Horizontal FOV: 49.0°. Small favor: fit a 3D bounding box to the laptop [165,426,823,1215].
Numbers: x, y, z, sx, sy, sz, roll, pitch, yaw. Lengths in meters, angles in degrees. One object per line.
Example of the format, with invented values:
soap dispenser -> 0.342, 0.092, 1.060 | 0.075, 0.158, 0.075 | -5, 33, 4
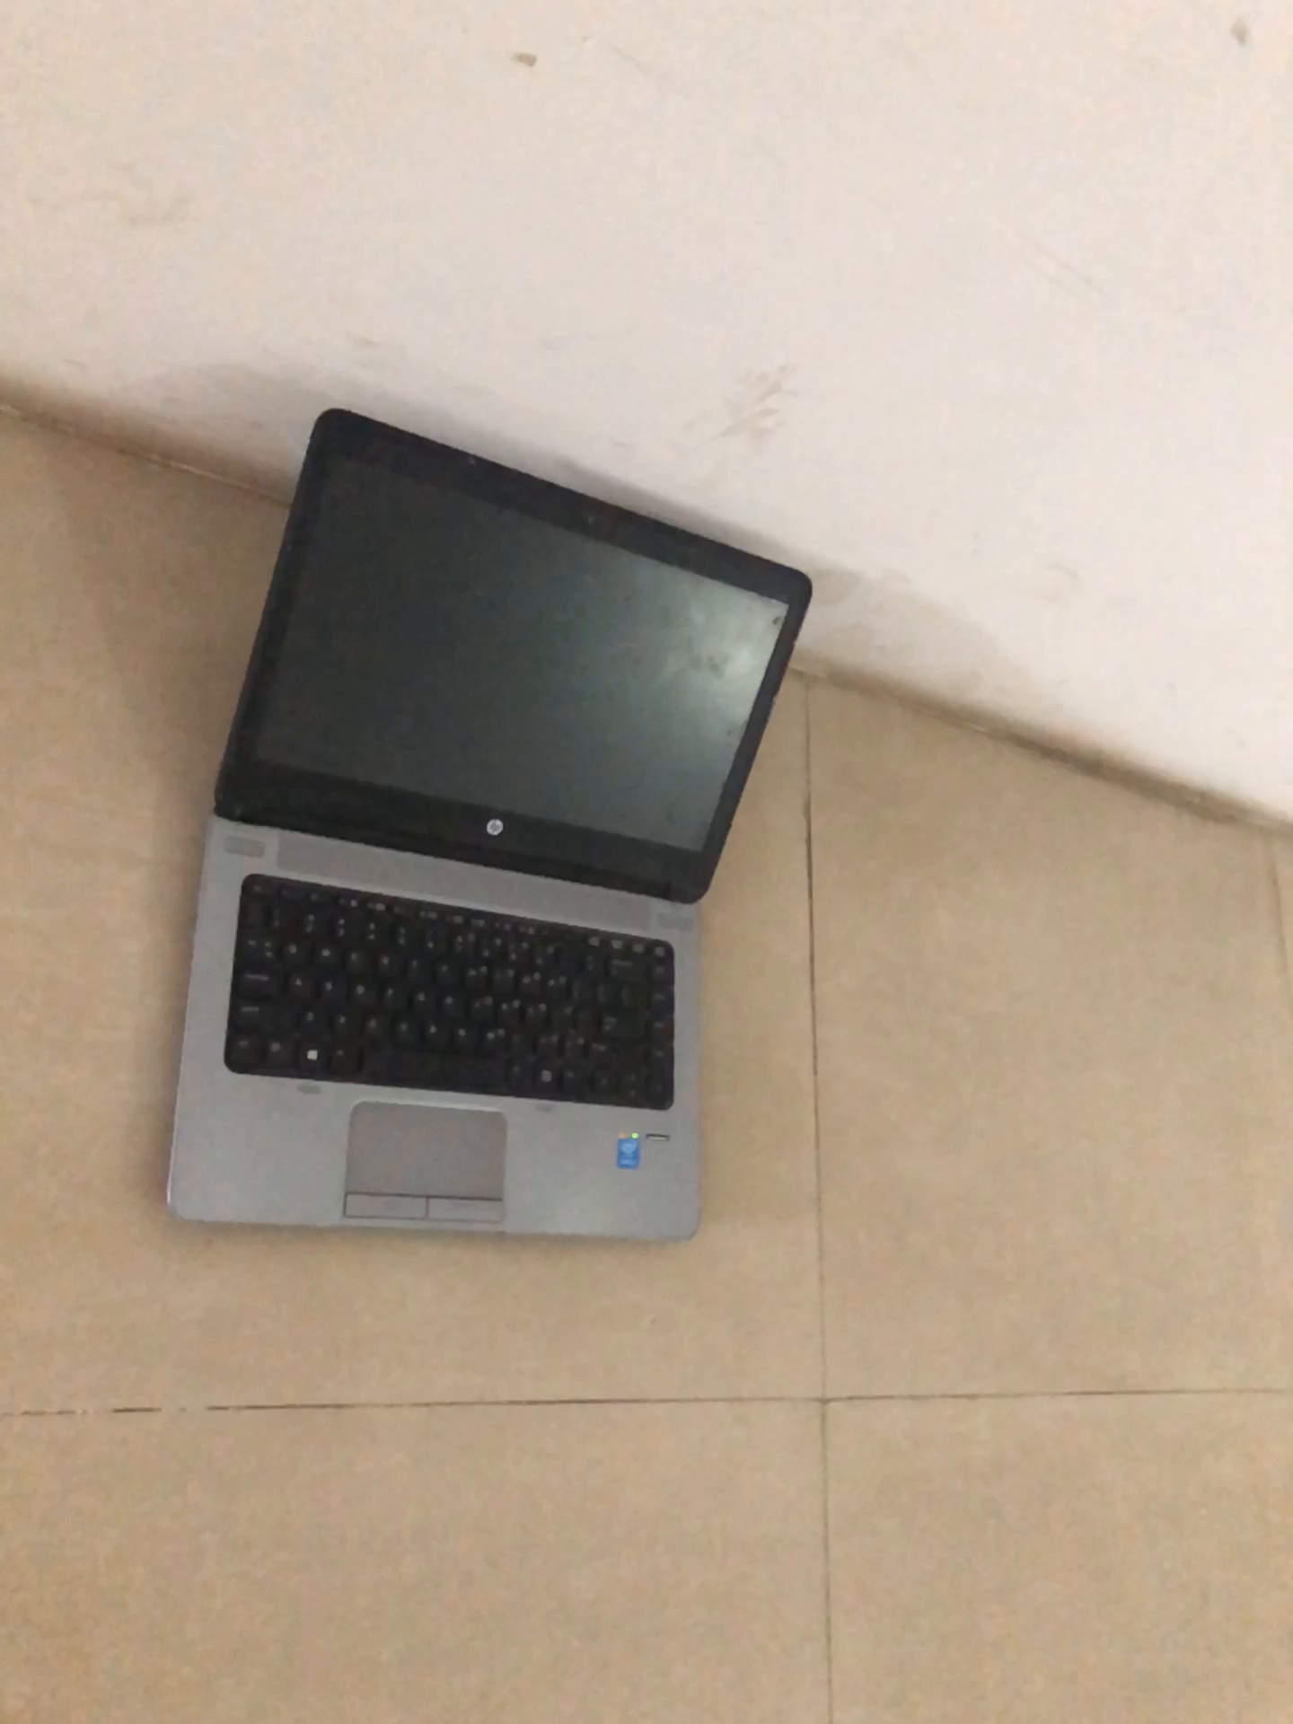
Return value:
laptop -> -0.080, -0.002, 0.822 | 0.319, 0.146, 0.386 | 12, 66, -33
